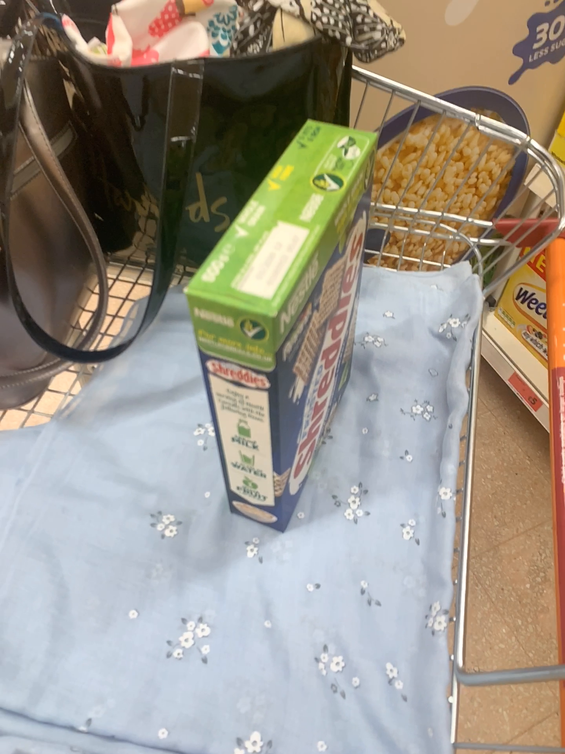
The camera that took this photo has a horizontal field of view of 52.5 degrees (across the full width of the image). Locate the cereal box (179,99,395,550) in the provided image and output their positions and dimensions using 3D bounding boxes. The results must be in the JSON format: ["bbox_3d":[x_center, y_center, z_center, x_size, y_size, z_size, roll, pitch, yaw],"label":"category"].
[{"bbox_3d":[0.009,-0.024,0.447,0.060,0.287,0.202,17,52,12],"label":"cereal box"}]
